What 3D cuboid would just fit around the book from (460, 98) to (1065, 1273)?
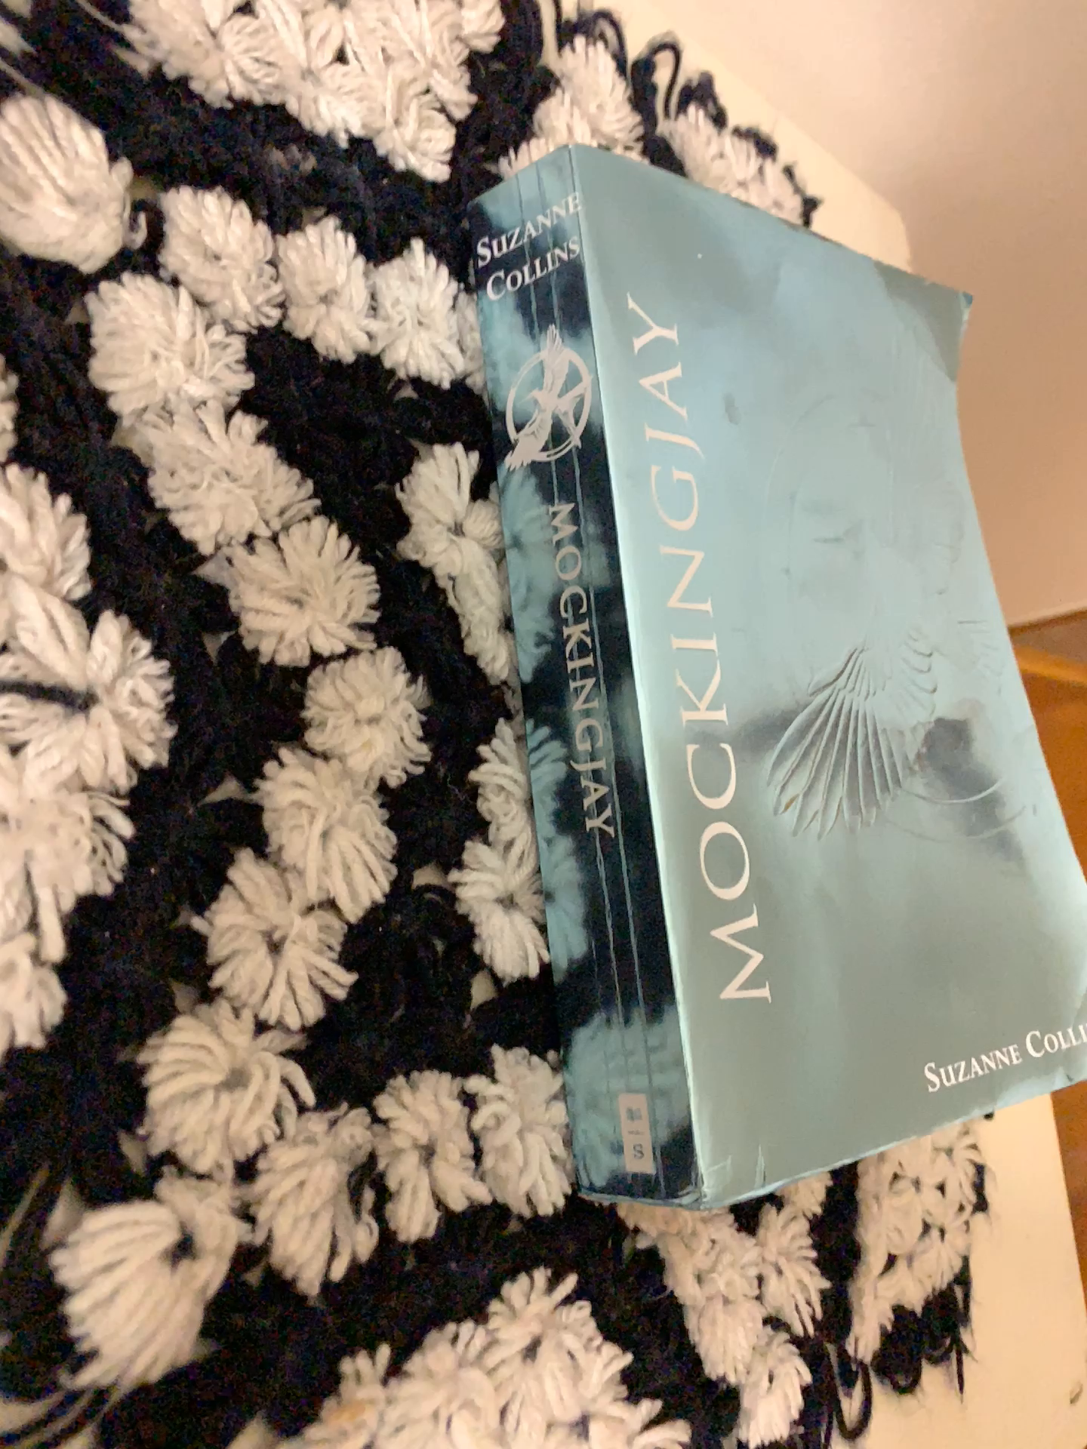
[{"bbox_3d":[0.054,-0.009,0.244,0.137,0.036,0.193,2,78,-47],"label":"book"}]
